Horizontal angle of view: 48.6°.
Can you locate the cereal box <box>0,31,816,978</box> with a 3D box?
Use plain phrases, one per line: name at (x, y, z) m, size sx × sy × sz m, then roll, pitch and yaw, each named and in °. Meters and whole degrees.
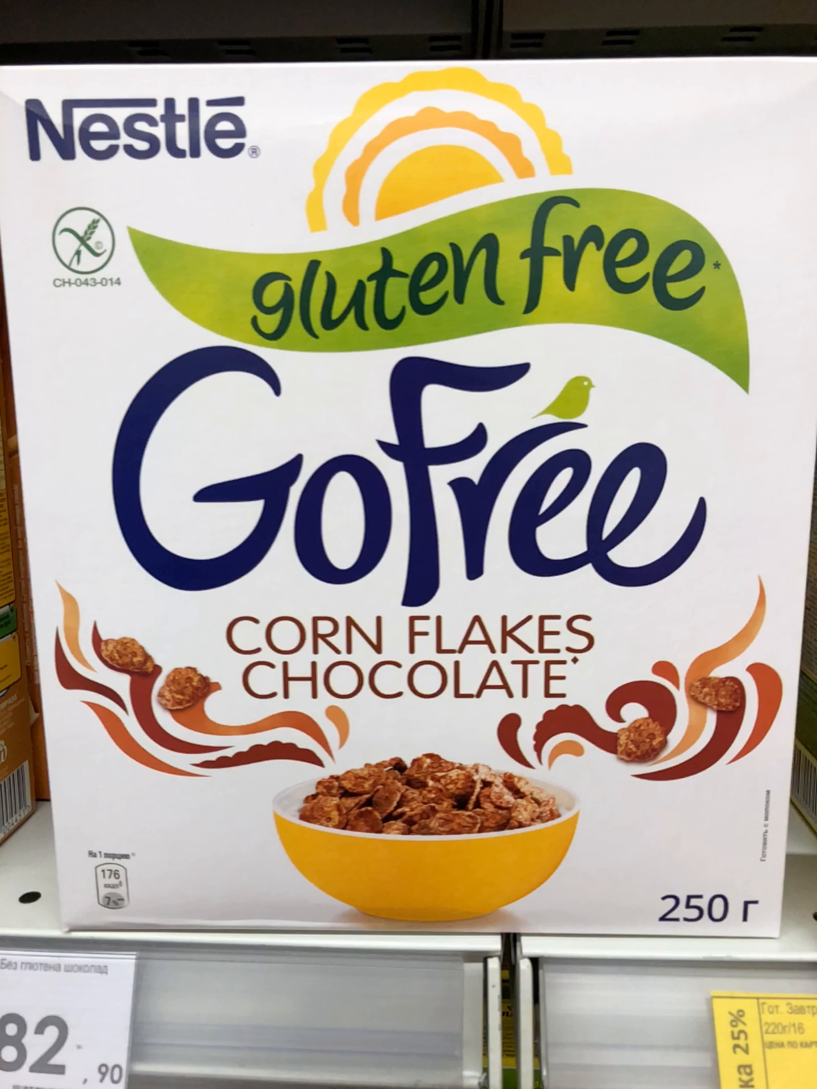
cereal box at (0.007, -0.005, 0.239) m, size 0.200 × 0.219 × 0.050 m, roll 1°, pitch 10°, yaw 4°
